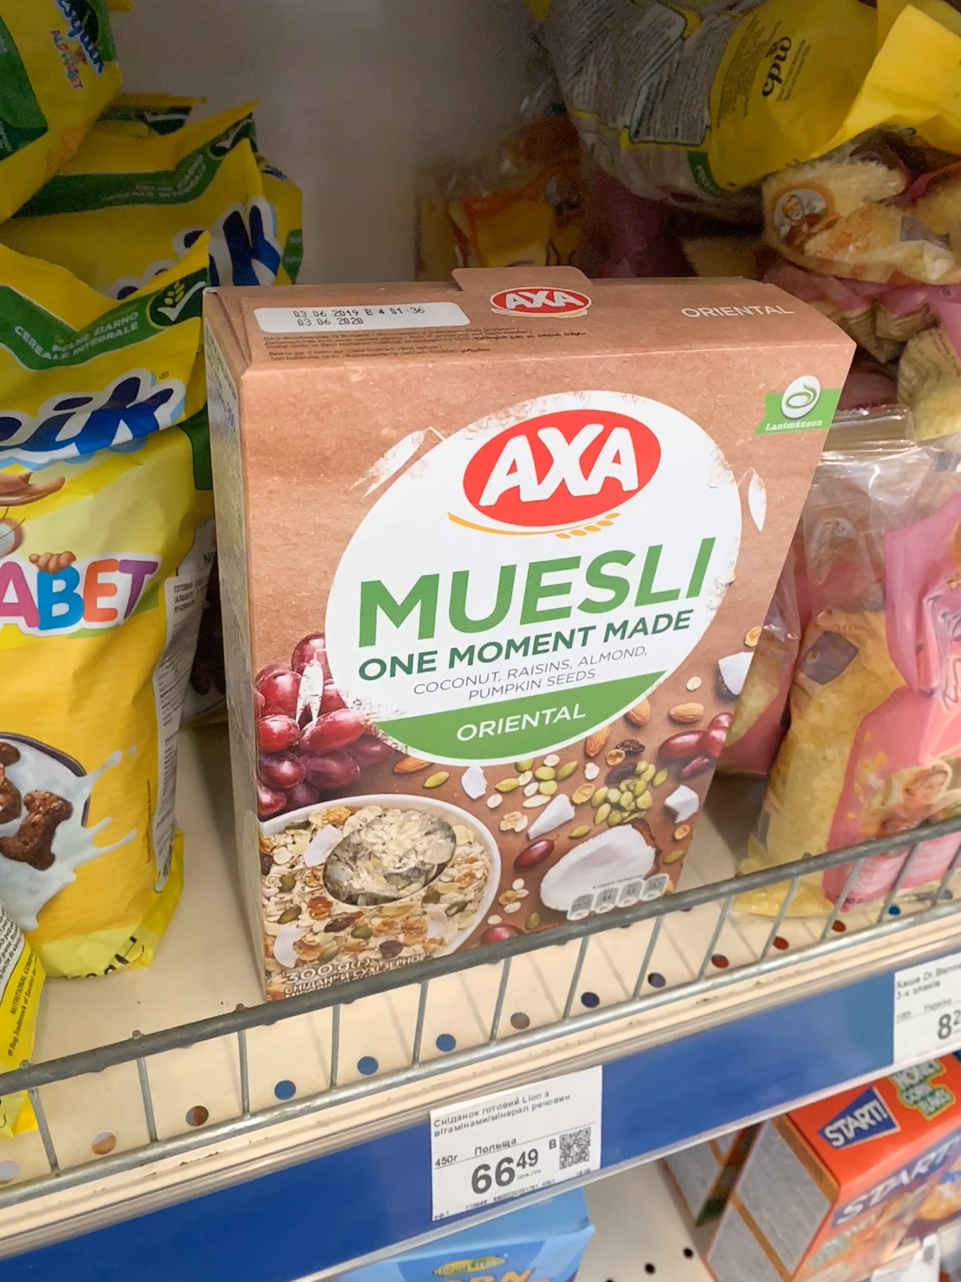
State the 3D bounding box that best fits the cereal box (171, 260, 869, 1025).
[{"bbox_3d":[0.000,0.009,0.291,0.150,0.218,0.050,-8,40,-19],"label":"cereal box"}]
